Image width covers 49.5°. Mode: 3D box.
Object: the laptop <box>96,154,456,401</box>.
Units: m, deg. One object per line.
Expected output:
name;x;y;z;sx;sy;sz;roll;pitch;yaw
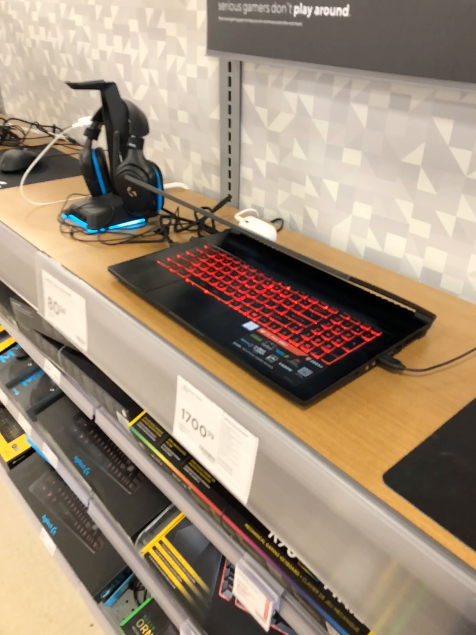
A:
laptop;0.029;-0.092;0.685;0.248;0.133;0.394;-24;39;-35
